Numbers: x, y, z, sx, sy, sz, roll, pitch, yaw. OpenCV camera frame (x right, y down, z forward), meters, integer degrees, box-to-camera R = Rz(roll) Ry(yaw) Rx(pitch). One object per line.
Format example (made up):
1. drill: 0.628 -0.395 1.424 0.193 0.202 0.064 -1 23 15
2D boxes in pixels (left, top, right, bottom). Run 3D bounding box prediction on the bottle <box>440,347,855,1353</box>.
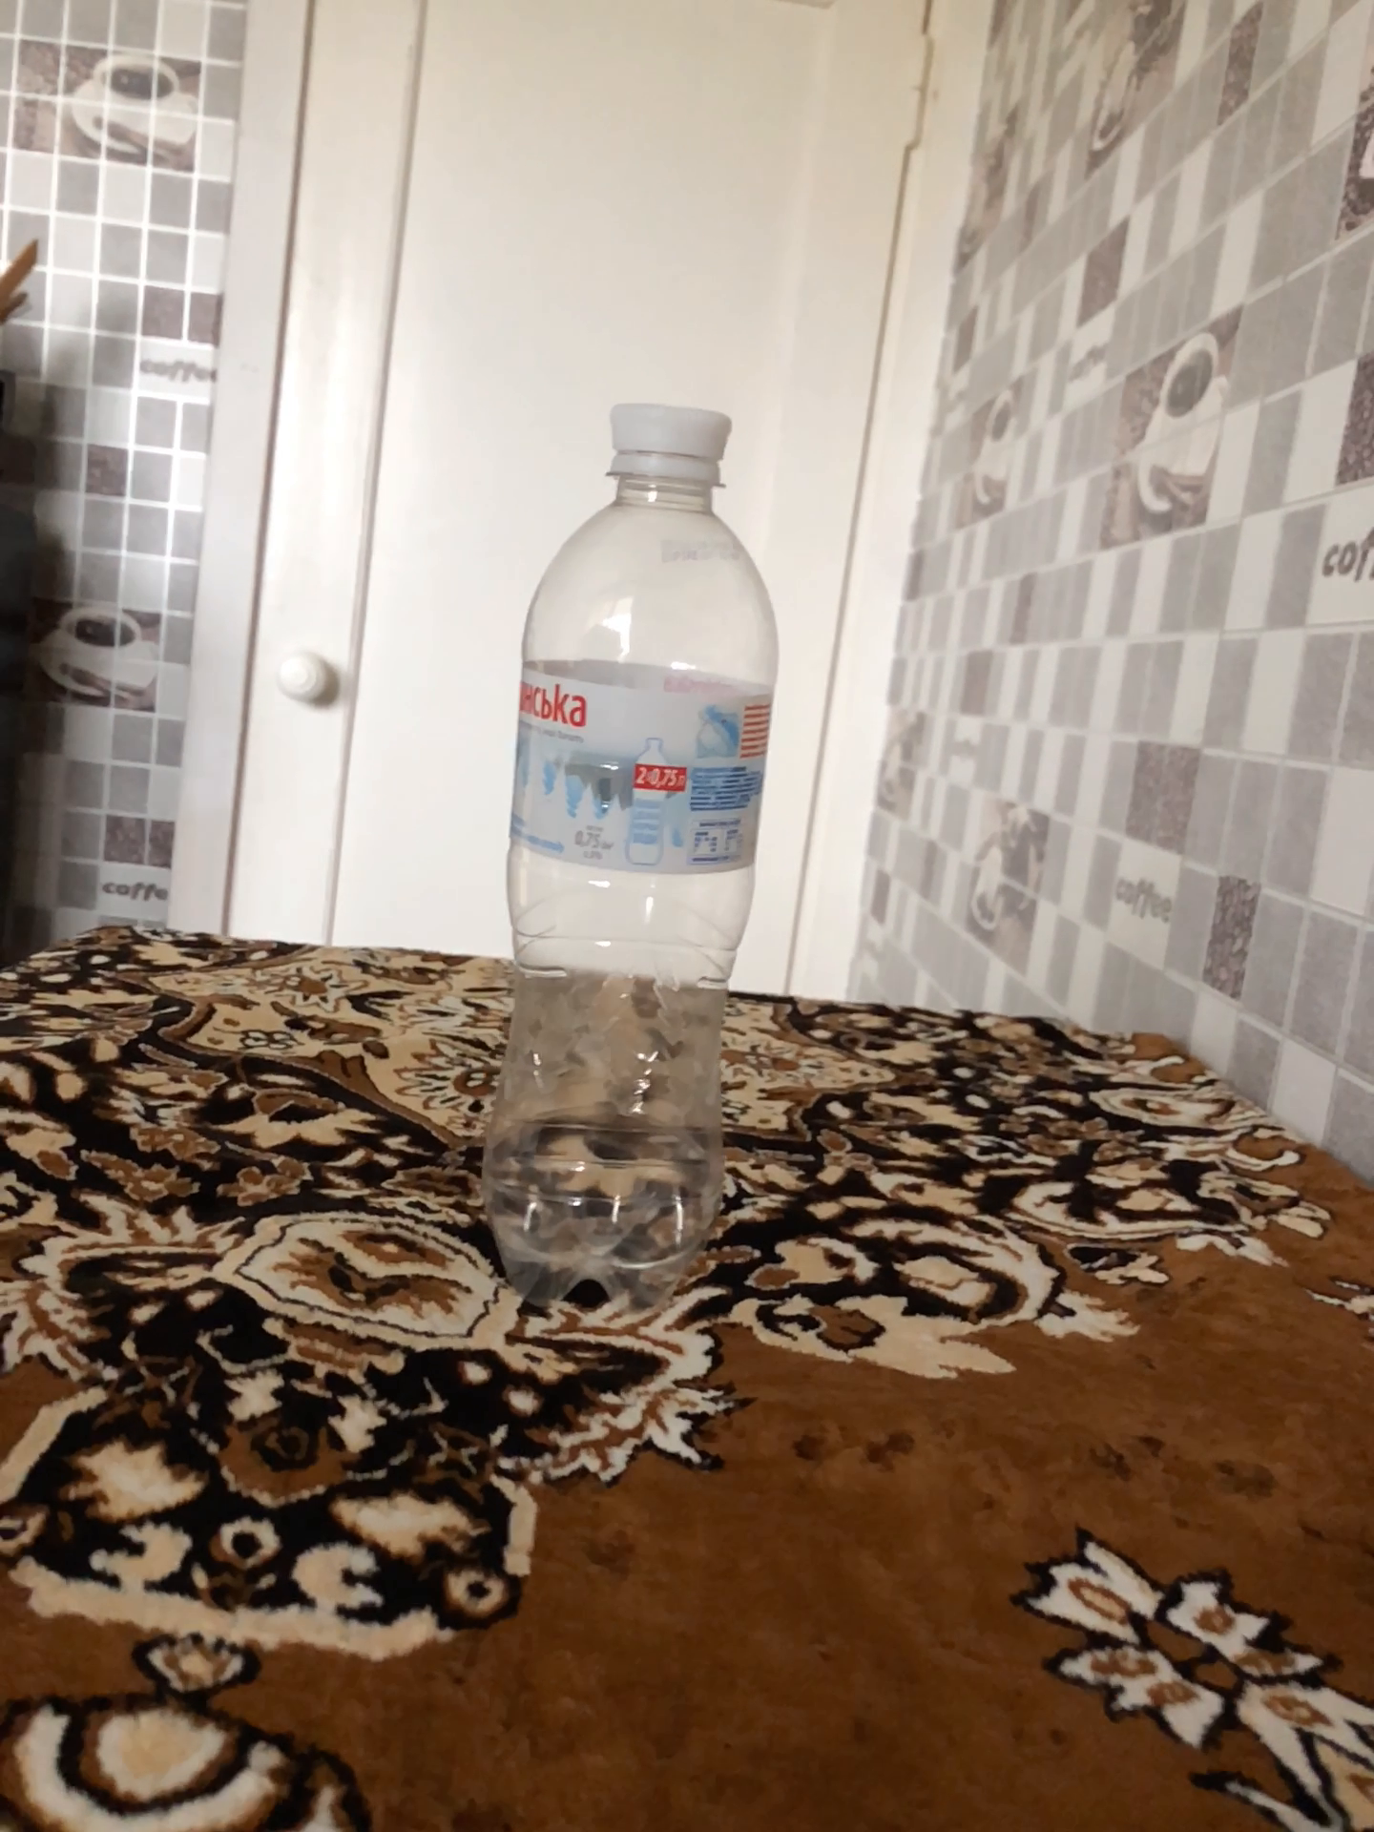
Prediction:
1. bottle: -0.015 -0.017 0.425 0.080 0.249 0.090 5 11 -4
